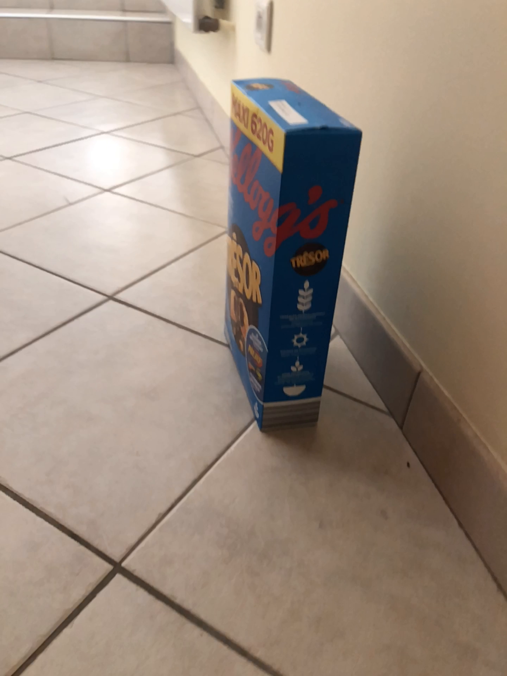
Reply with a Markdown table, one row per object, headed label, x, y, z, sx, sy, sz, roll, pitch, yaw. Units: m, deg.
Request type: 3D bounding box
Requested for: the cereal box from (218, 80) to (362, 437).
| label | x | y | z | sx | sy | sz | roll | pitch | yaw |
| --- | --- | --- | --- | --- | --- | --- | --- | --- | --- |
| cereal box | 0.018 | -0.080 | 0.563 | 0.070 | 0.298 | 0.191 | -5 | 35 | -12 |
